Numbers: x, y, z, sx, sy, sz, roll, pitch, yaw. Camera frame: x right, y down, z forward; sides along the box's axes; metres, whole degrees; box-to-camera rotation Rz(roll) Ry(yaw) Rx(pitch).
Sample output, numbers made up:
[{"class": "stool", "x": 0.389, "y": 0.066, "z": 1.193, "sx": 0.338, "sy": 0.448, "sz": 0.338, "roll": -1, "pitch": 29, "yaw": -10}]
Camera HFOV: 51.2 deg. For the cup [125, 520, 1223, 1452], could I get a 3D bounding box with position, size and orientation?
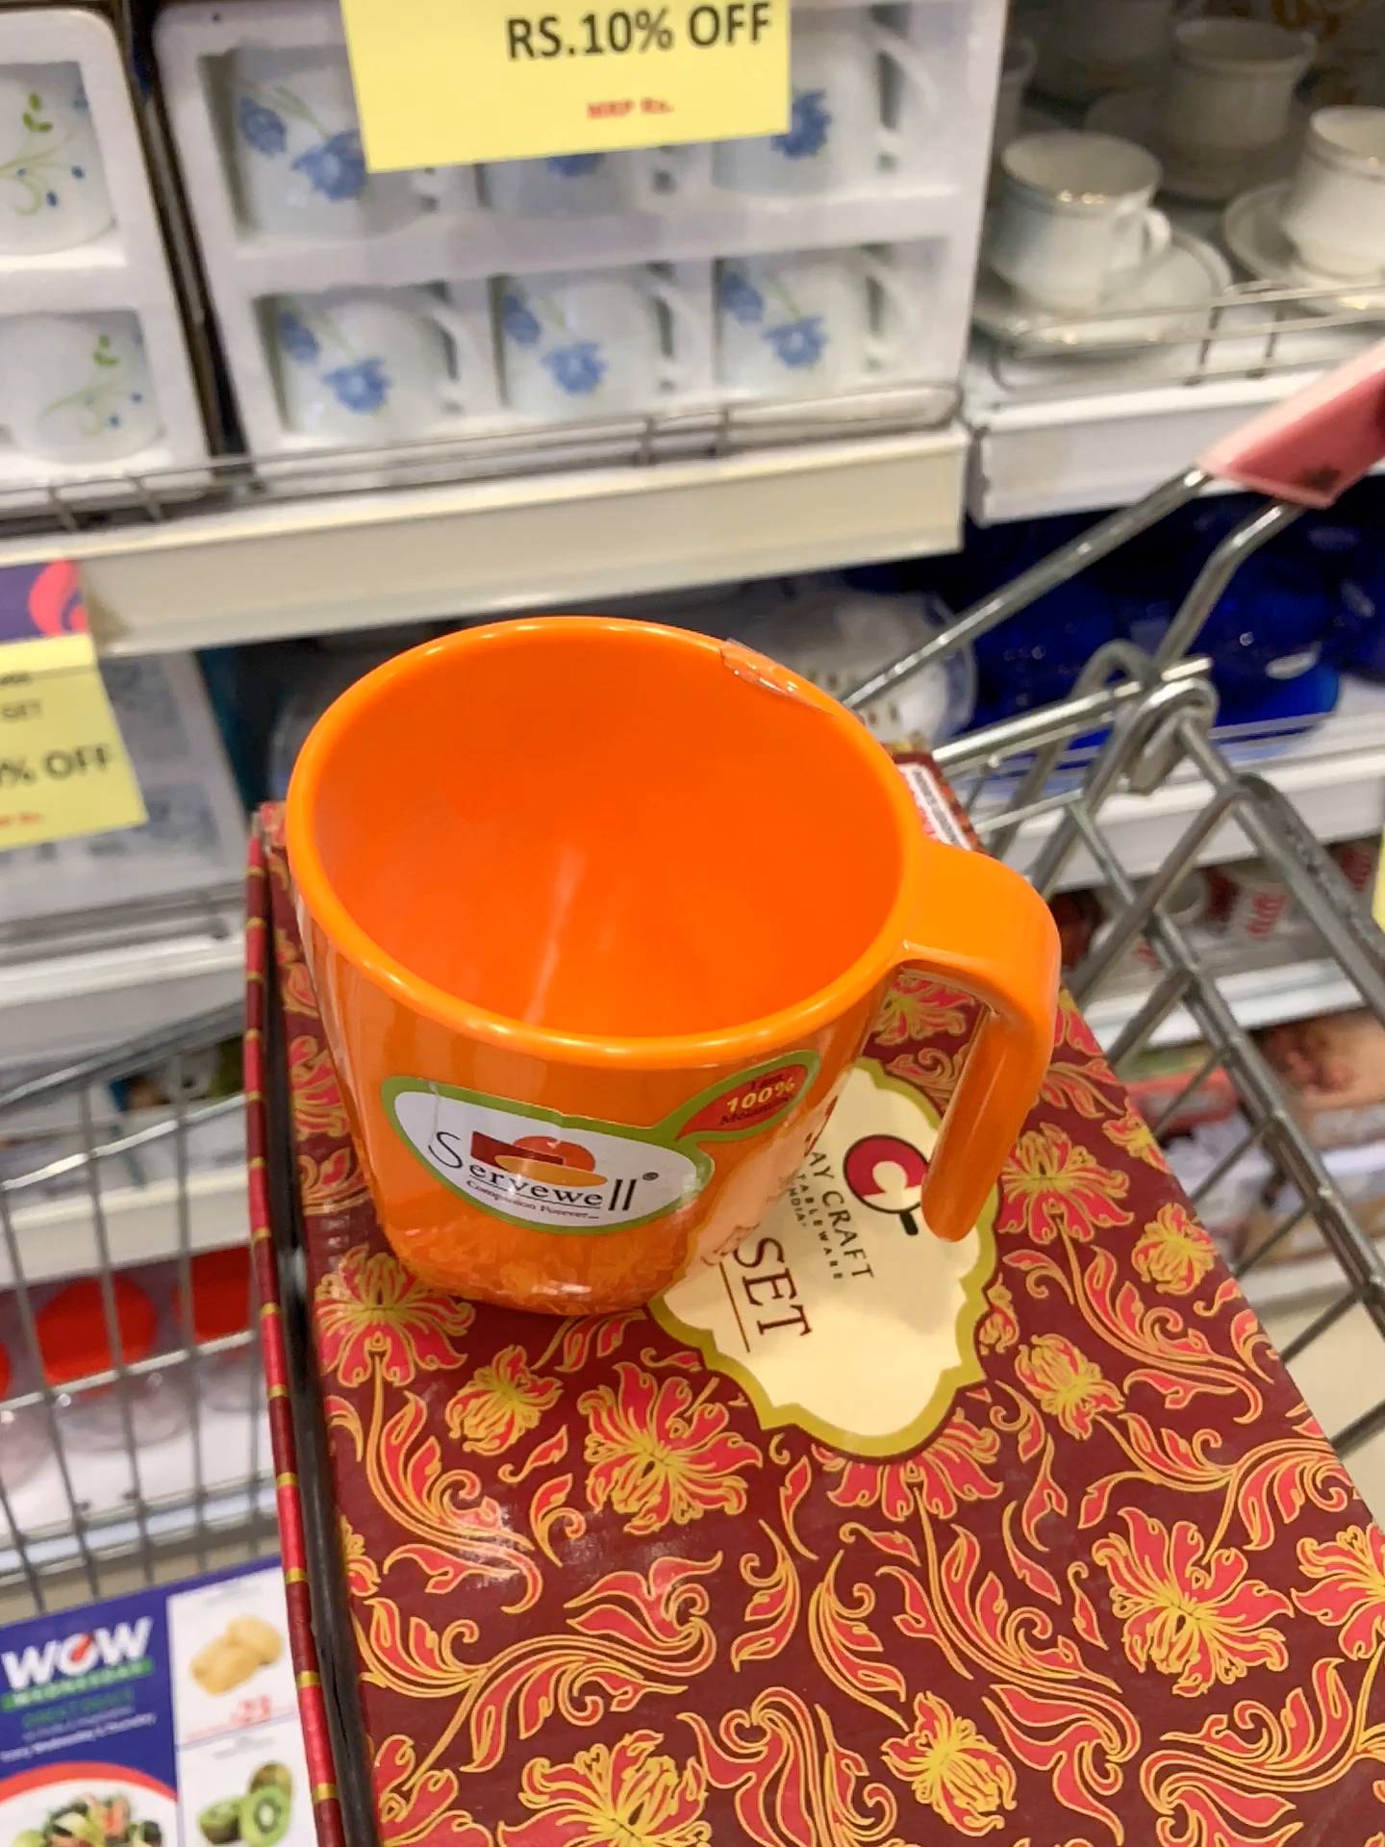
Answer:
[{"class": "cup", "x": 0.000, "y": 0.008, "z": 0.195, "sx": 0.110, "sy": 0.070, "sz": 0.080, "roll": 11, "pitch": 49, "yaw": 1}]
